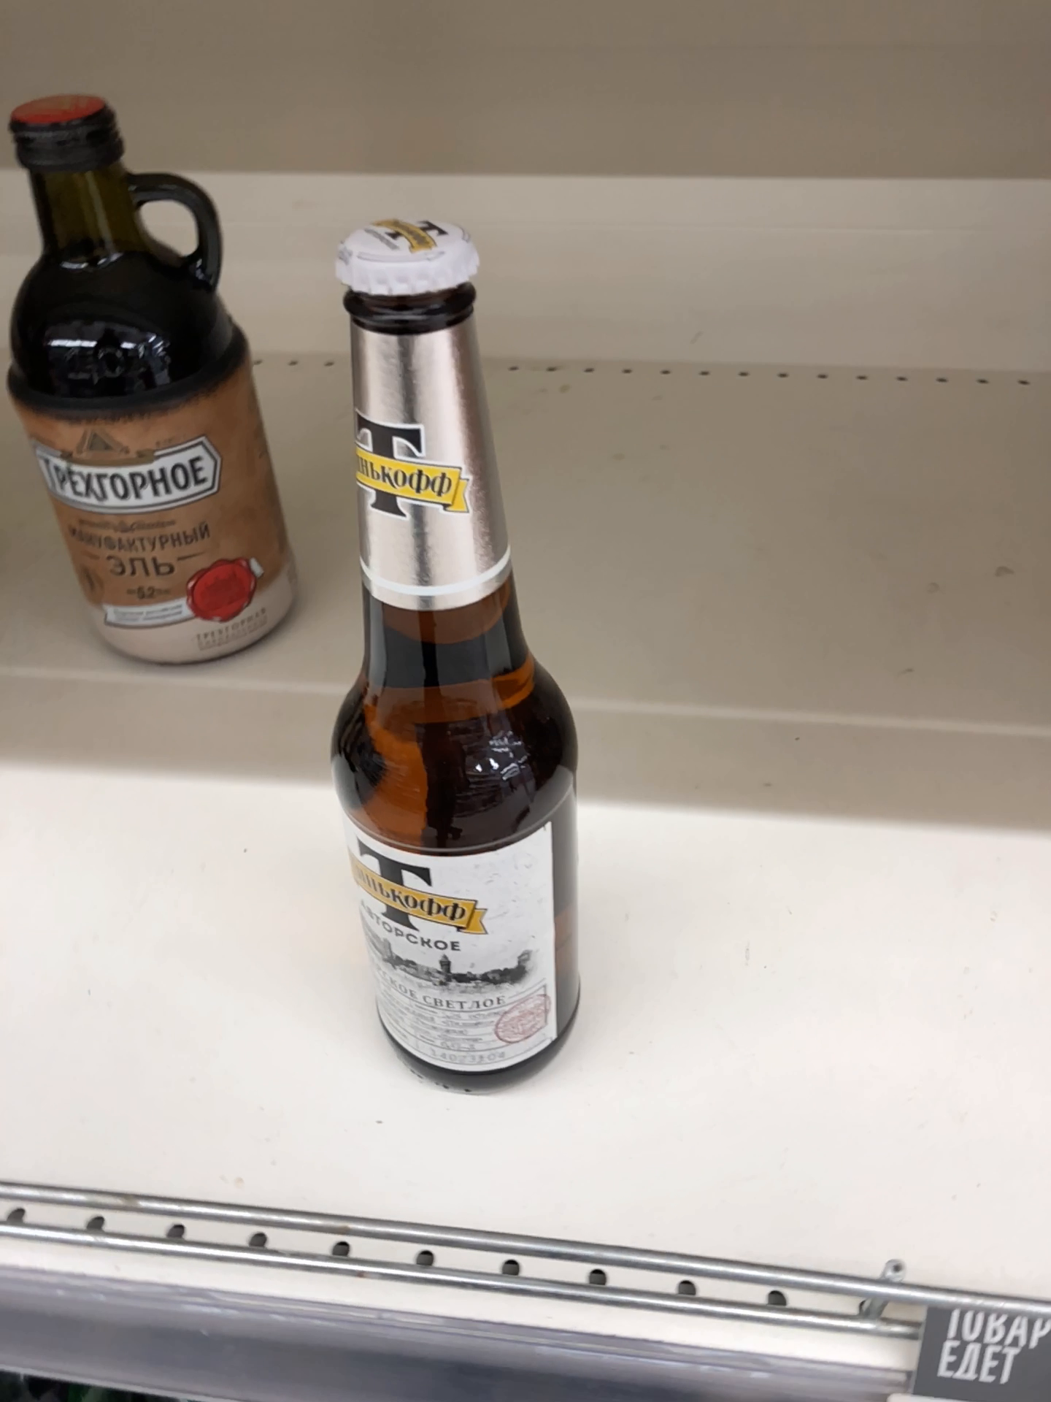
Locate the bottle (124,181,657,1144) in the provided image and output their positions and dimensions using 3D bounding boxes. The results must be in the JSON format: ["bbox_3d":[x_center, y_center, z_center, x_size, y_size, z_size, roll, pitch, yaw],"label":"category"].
[{"bbox_3d":[-0.022,0.007,0.311,0.080,0.249,0.070,20,45,24],"label":"bottle"}]
